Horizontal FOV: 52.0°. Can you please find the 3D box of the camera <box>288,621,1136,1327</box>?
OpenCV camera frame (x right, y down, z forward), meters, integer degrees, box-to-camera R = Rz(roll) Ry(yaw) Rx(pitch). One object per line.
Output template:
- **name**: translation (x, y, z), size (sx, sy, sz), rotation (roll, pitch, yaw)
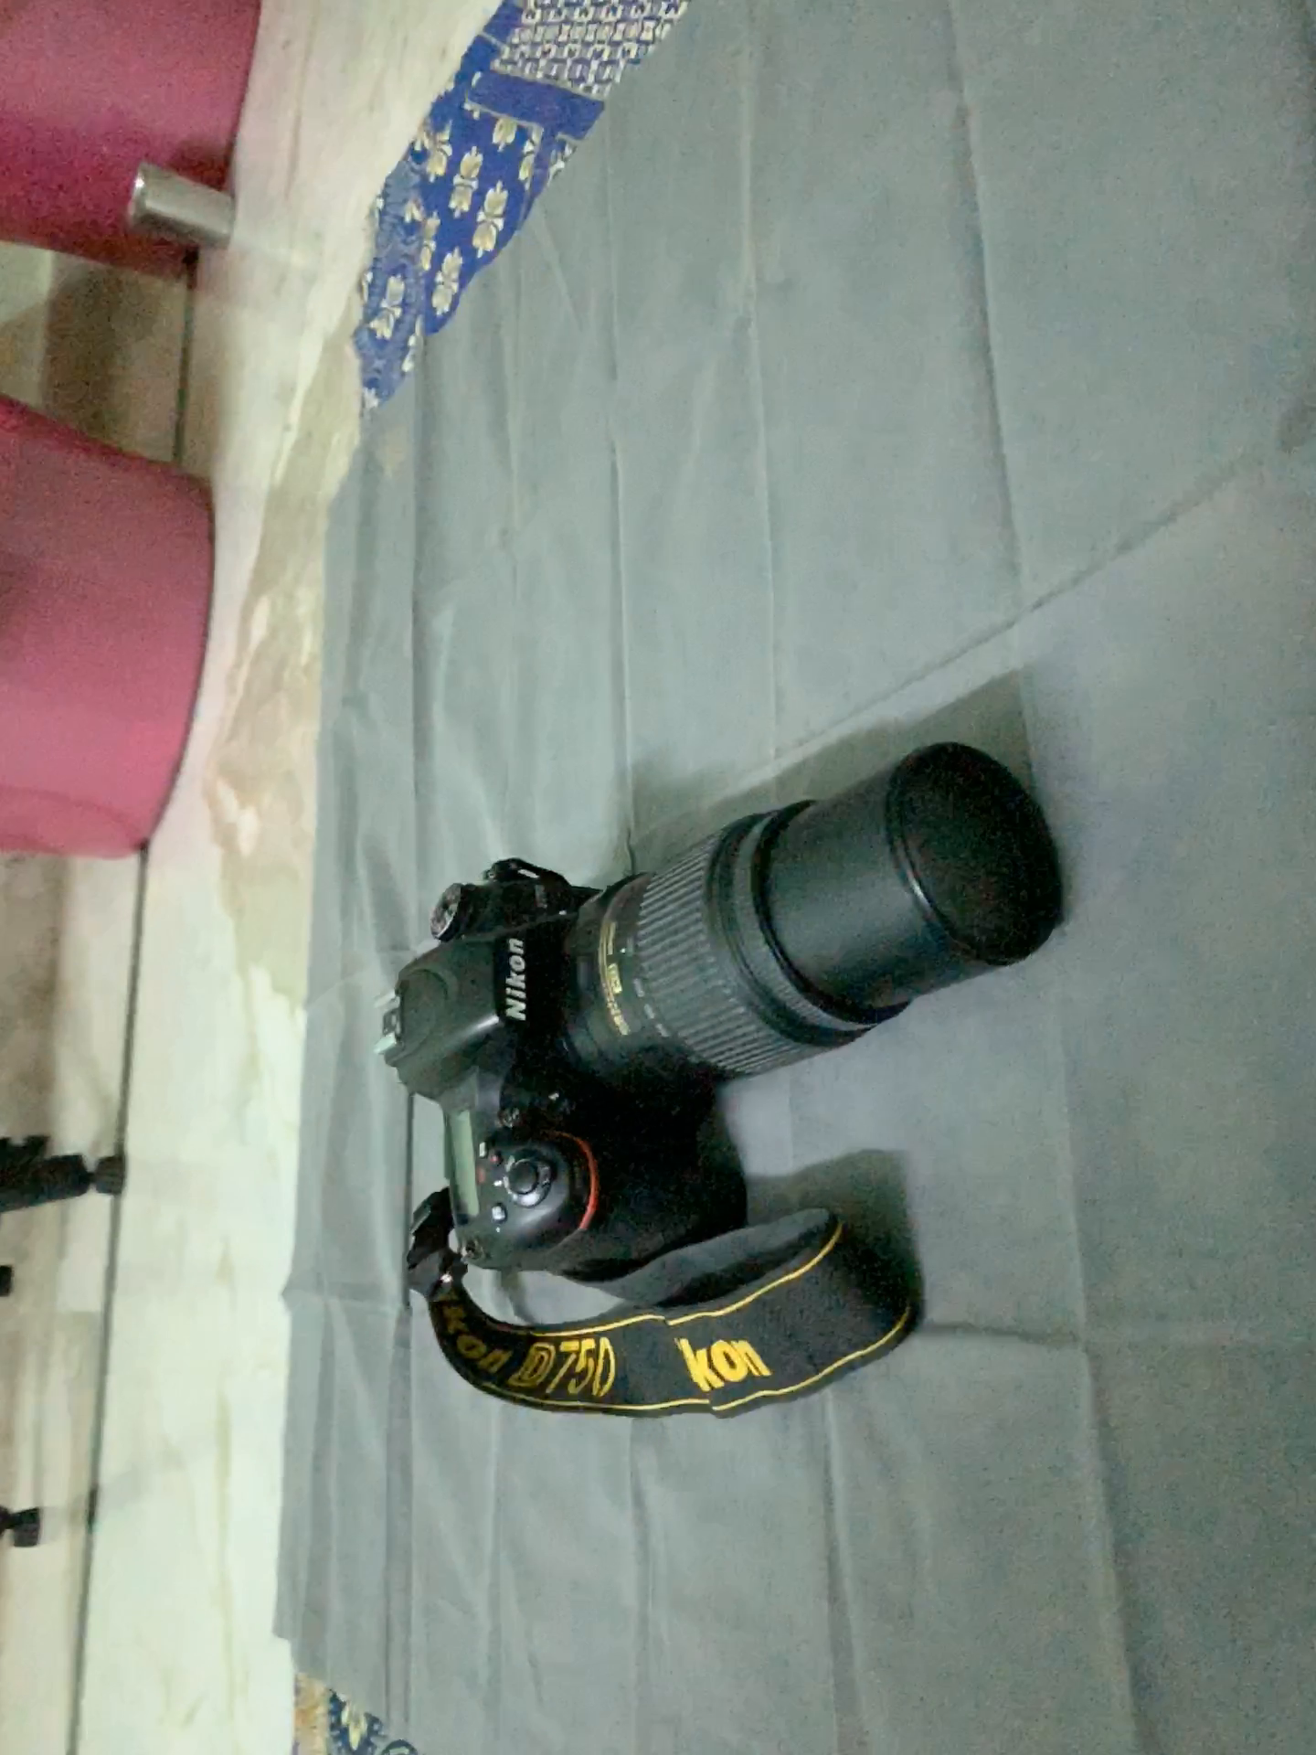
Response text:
- **camera**: translation (-0.015, 0.060, 0.429), size (0.290, 0.109, 0.147), rotation (-28, 59, 52)
